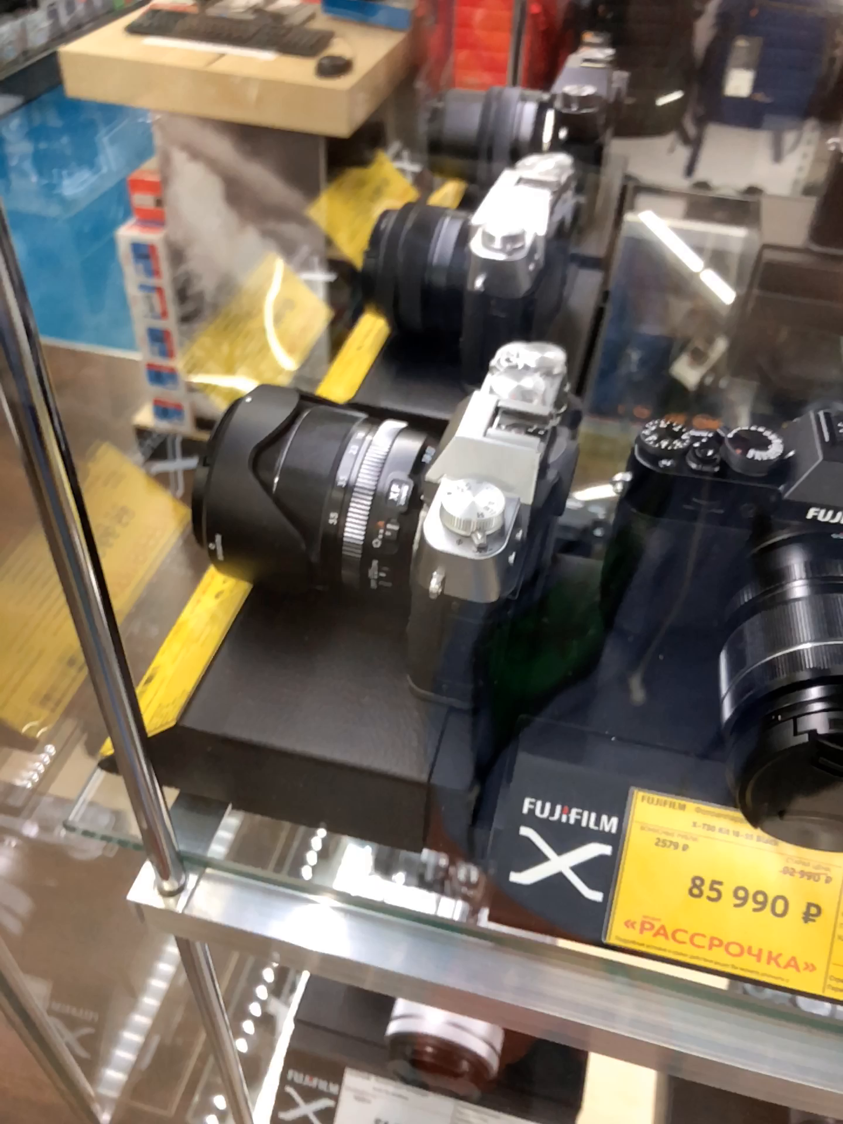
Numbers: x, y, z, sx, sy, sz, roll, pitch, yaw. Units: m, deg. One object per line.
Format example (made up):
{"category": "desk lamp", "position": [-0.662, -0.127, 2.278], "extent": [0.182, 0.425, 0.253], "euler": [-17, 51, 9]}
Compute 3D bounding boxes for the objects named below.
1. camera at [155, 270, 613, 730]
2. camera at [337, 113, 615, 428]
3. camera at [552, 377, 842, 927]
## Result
{"category": "camera", "position": [-0.006, -0.028, 0.339], "extent": [0.120, 0.088, 0.121], "euler": [12, 44, 9]}
{"category": "camera", "position": [0.030, -0.151, 0.474], "extent": [0.104, 0.088, 0.136], "euler": [12, 45, 10]}
{"category": "camera", "position": [0.128, 0.022, 0.304], "extent": [0.144, 0.088, 0.123], "euler": [11, 44, 8]}
